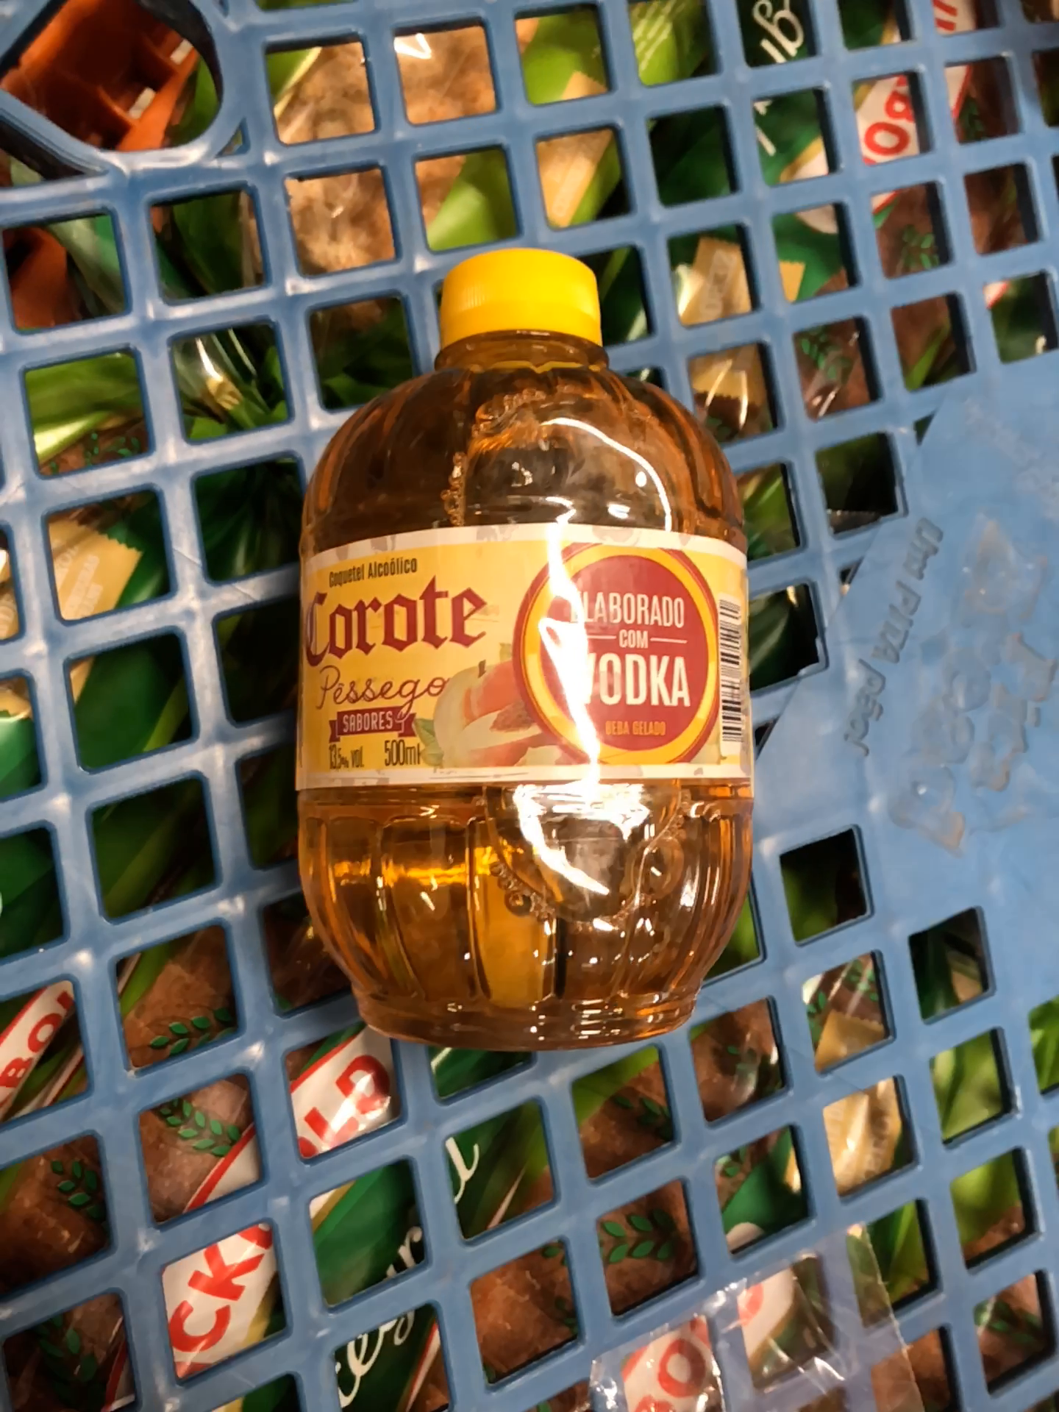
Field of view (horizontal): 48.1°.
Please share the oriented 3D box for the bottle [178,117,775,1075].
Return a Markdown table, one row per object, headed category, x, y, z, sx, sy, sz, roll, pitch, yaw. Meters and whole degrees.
| category | x | y | z | sx | sy | sz | roll | pitch | yaw |
| --- | --- | --- | --- | --- | --- | --- | --- | --- | --- |
| bottle | -0.005 | -0.013 | 0.205 | 0.080 | 0.070 | 0.130 | -3 | 86 | 18 |
